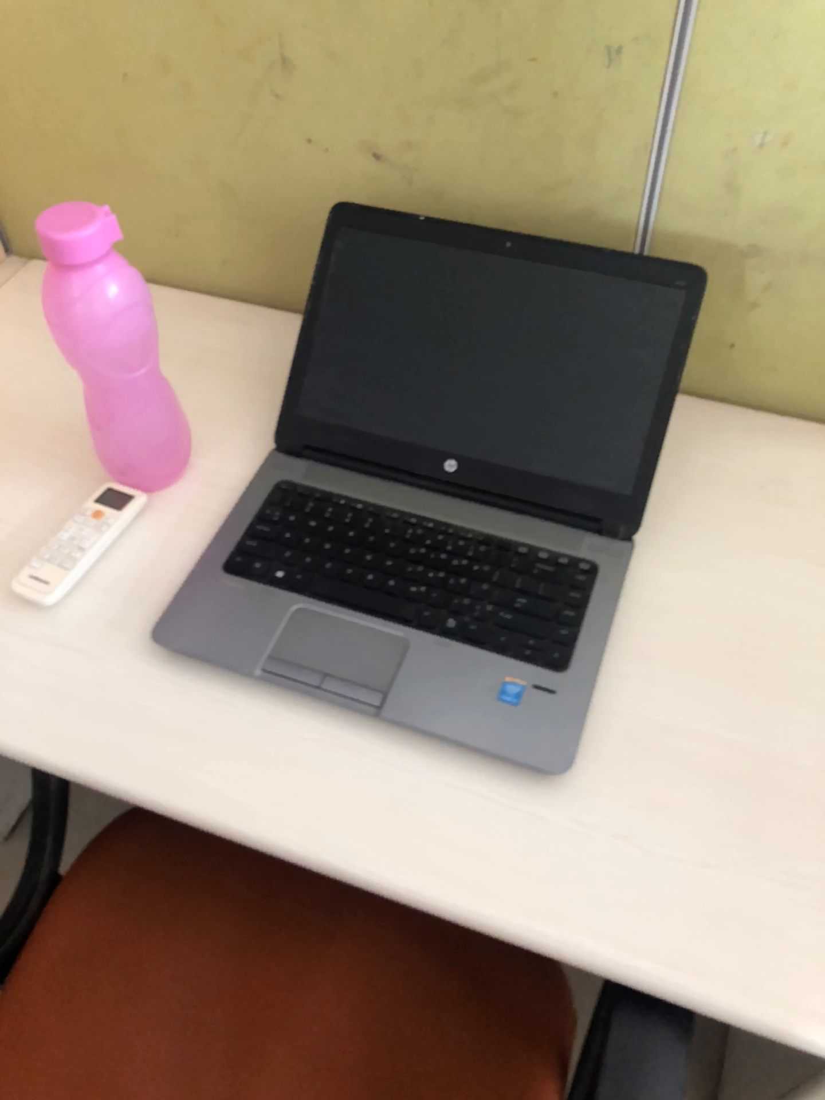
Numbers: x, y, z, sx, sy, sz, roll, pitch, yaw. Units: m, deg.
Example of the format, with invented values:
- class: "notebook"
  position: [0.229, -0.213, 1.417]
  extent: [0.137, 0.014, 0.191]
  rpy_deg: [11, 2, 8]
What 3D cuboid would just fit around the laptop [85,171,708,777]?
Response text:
- class: "laptop"
  position: [0.013, -0.091, 0.718]
  extent: [0.326, 0.148, 0.408]
  rpy_deg: [15, 56, 15]
